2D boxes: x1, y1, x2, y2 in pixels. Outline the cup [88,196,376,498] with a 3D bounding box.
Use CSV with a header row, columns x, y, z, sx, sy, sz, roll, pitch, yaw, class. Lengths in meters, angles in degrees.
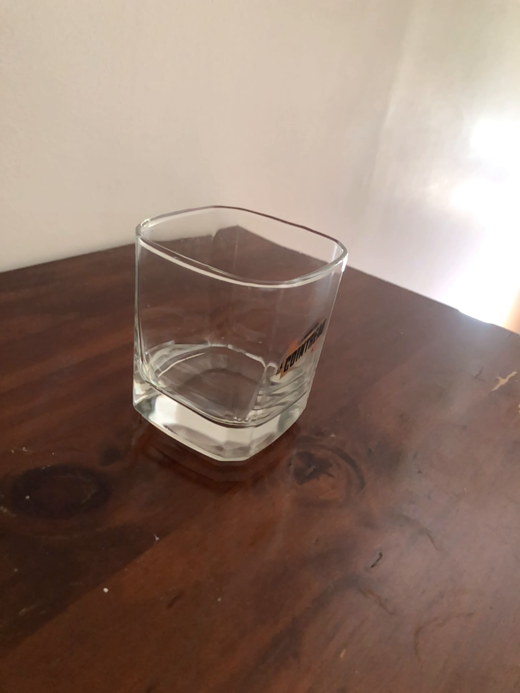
x,y,z,sx,sy,sz,roll,pitch,yaw,class
-0.013,-0.008,0.254,0.080,0.085,0.087,8,28,-4,cup
